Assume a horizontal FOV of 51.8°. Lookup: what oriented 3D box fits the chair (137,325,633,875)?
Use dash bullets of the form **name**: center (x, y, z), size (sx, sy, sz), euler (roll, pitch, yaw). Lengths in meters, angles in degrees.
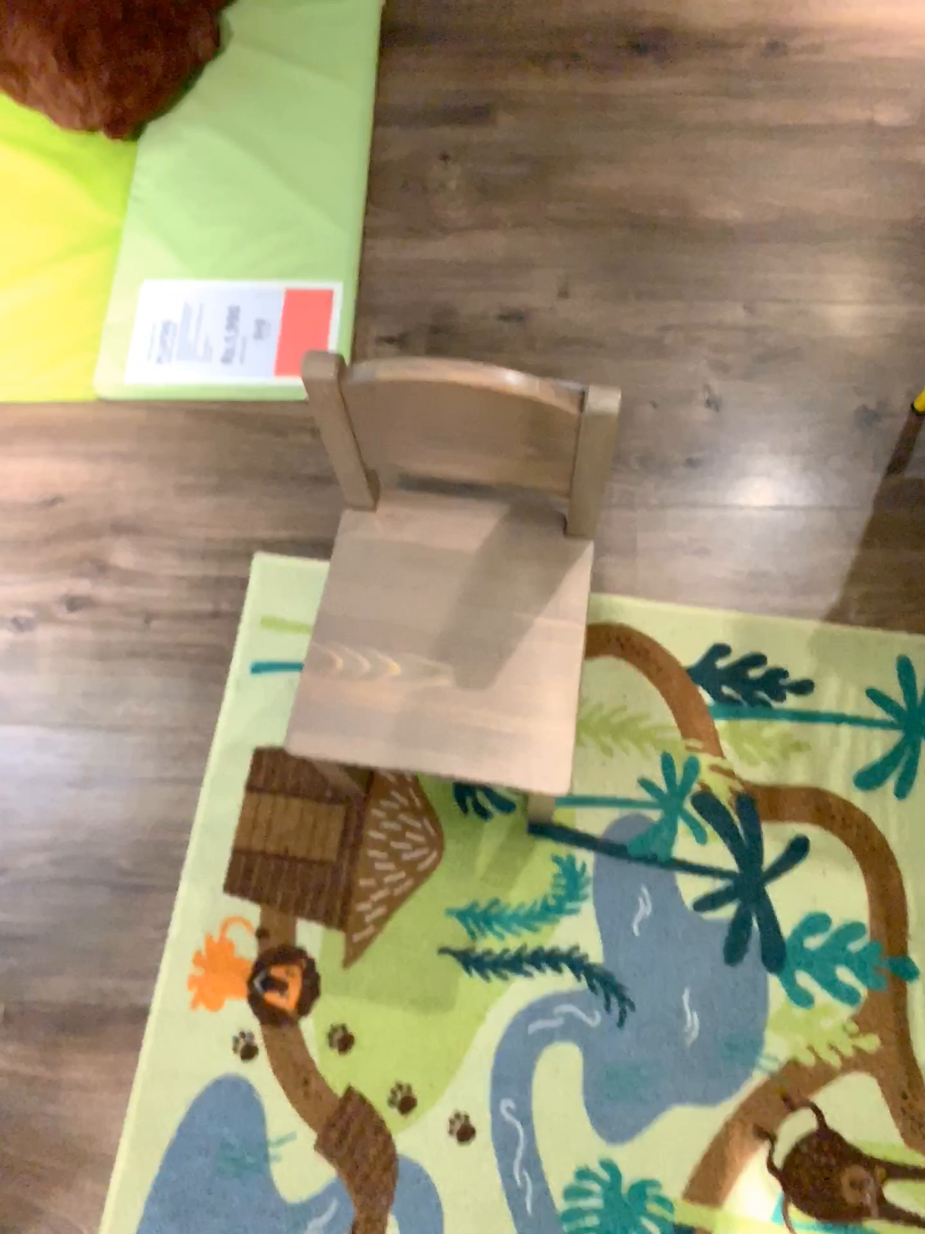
- **chair**: center (-0.032, 0.032, 0.889), size (0.290, 0.490, 0.330), euler (7, 71, 5)
